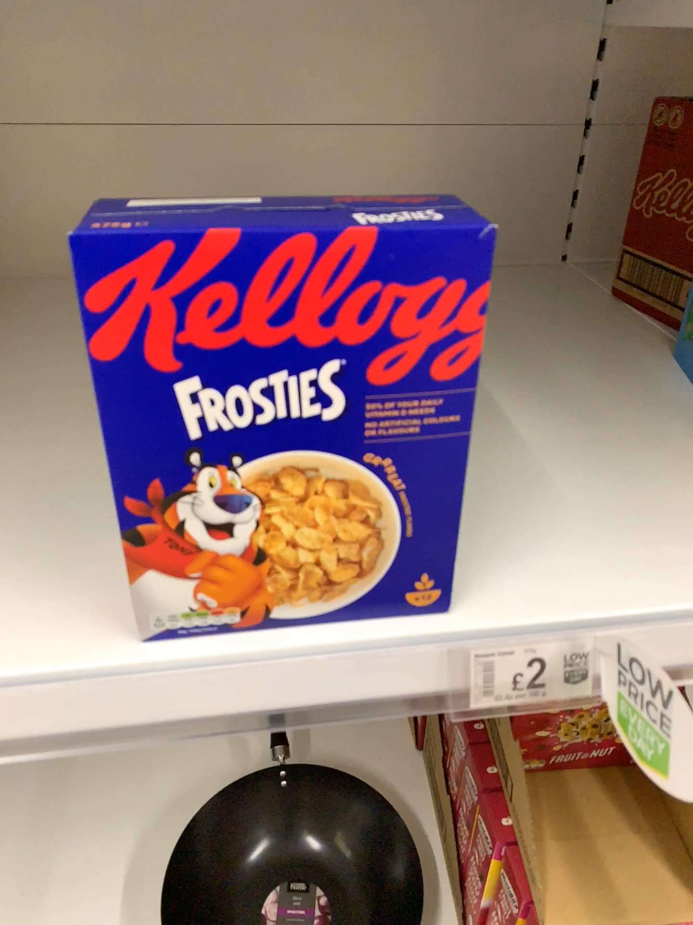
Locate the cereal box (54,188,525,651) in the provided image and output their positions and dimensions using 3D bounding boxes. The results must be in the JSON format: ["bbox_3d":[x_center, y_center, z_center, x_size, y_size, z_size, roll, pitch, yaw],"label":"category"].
[{"bbox_3d":[-0.028,-0.019,0.395,0.200,0.238,0.081,-3,32,-8],"label":"cereal box"}]
